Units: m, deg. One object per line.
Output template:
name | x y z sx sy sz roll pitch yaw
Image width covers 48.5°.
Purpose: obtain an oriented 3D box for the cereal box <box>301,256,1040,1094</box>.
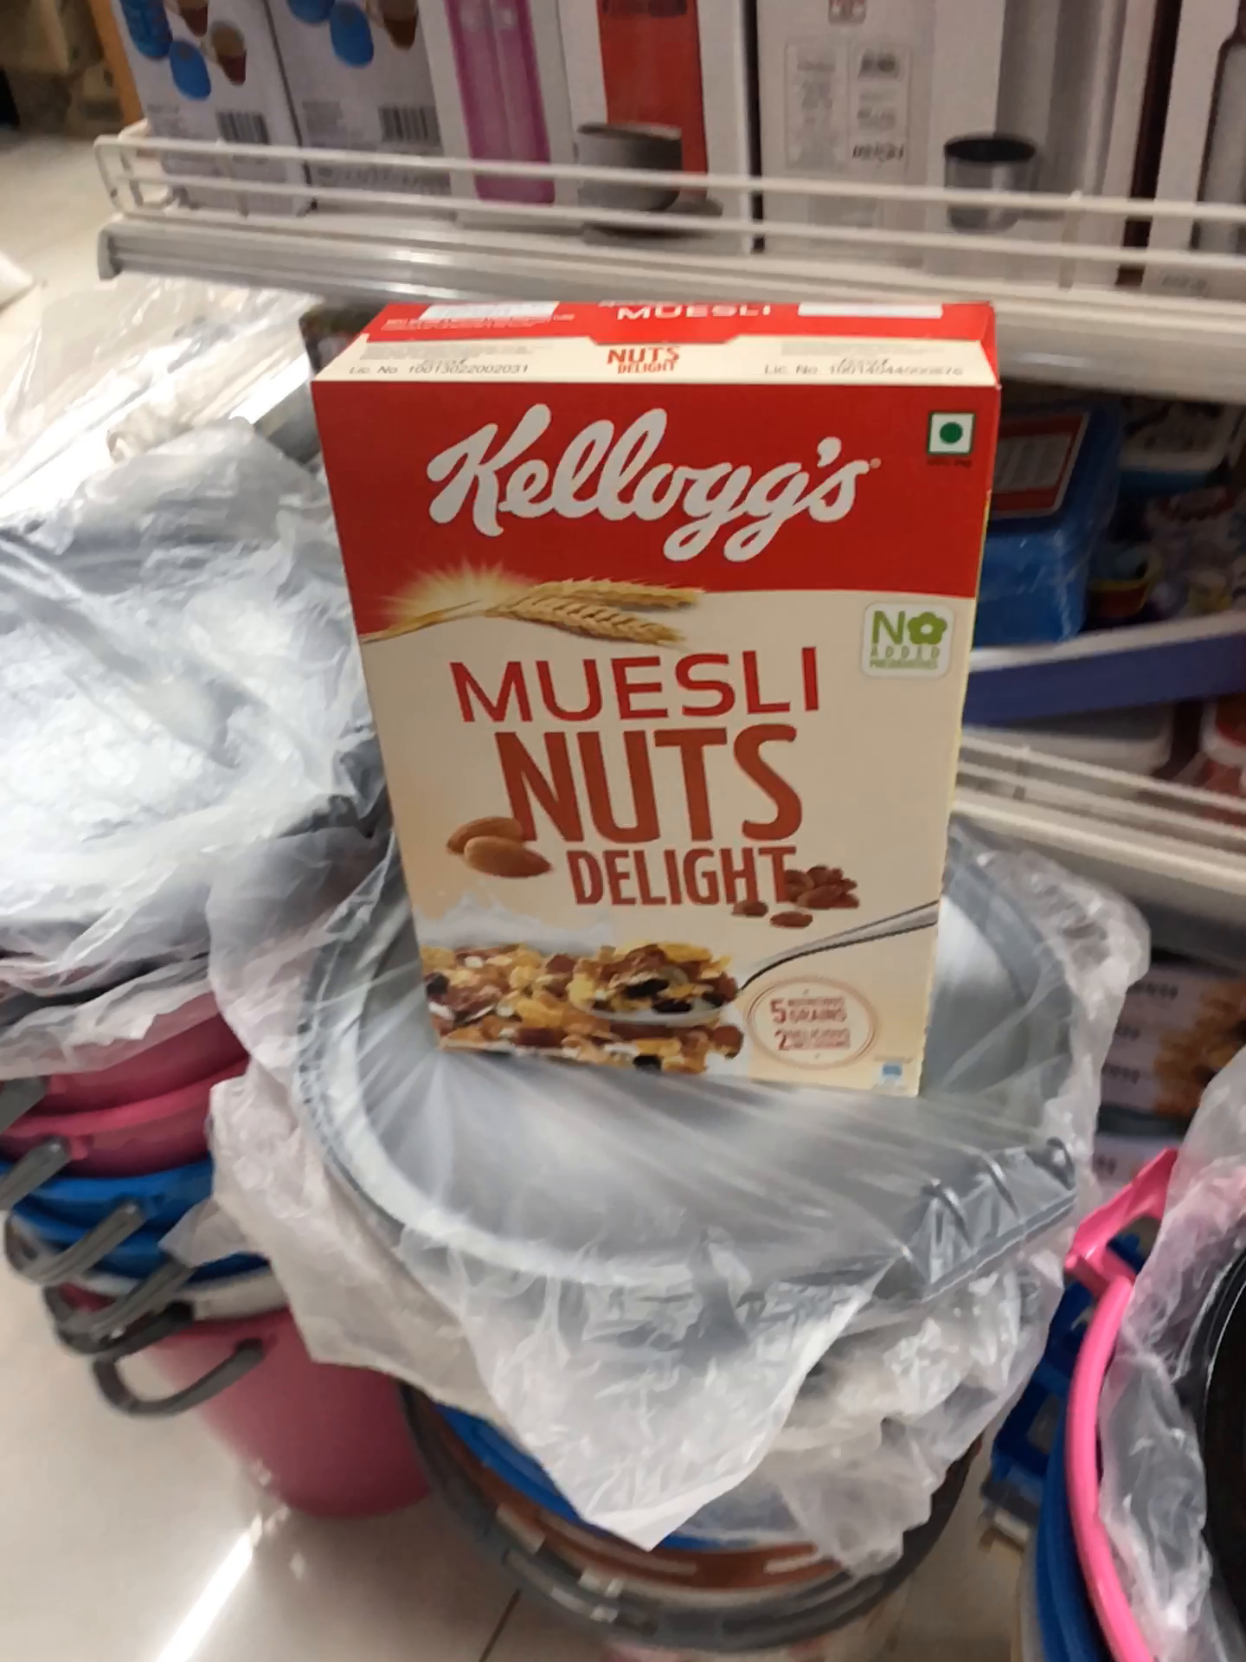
cereal box | 0.019 -0.042 0.454 0.190 0.259 0.070 5 36 11
